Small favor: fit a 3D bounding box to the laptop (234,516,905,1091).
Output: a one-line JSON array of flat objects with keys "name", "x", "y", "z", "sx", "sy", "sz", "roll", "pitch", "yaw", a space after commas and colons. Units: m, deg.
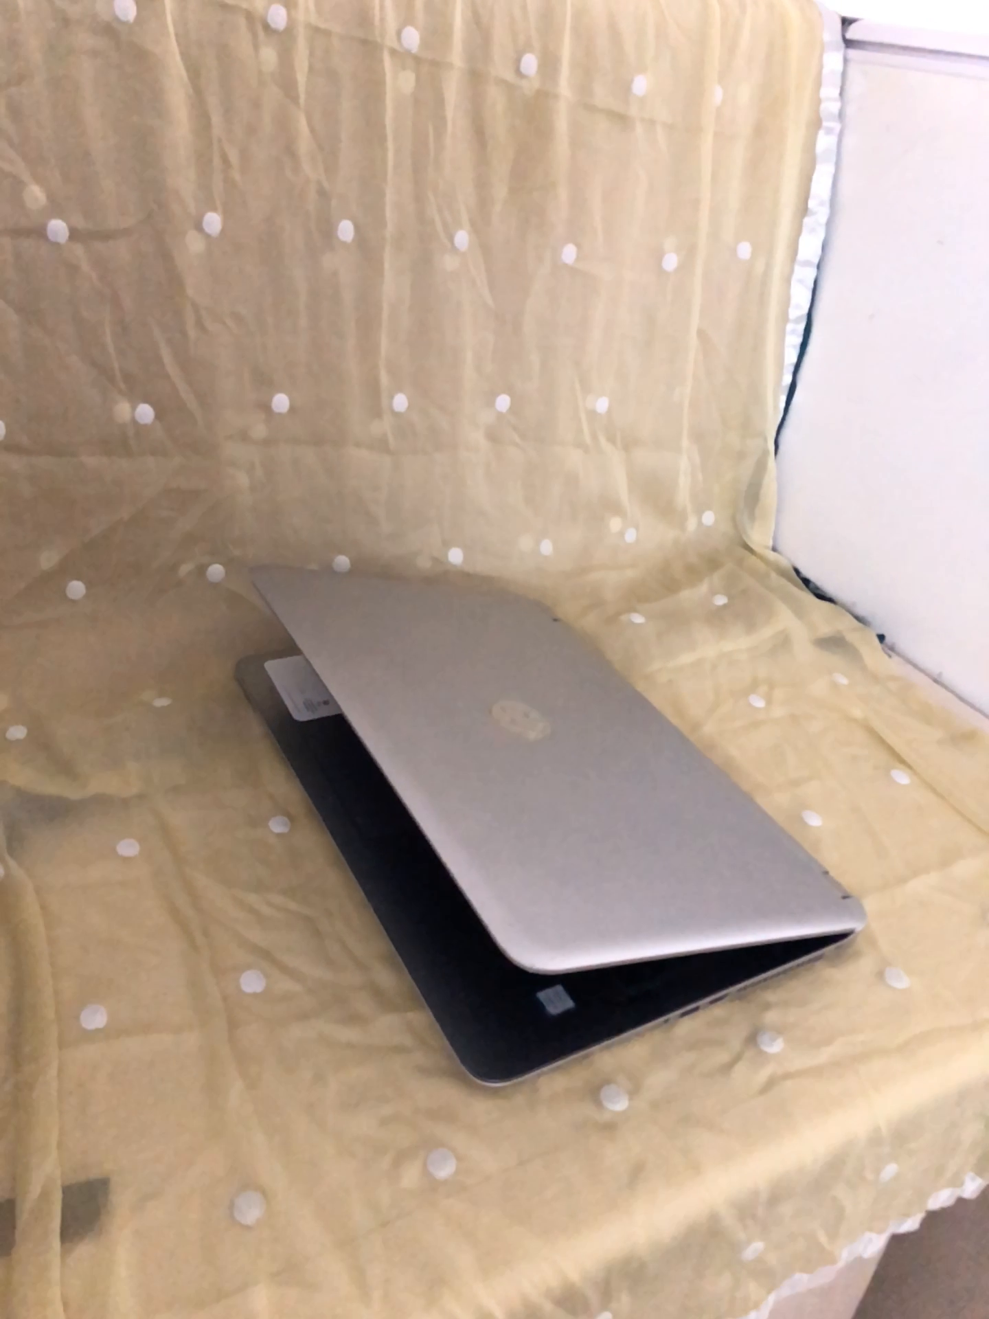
[{"name": "laptop", "x": 0.018, "y": 0.043, "z": 0.657, "sx": 0.243, "sy": 0.077, "sz": 0.366, "roll": -11, "pitch": 38, "yaw": -28}]
